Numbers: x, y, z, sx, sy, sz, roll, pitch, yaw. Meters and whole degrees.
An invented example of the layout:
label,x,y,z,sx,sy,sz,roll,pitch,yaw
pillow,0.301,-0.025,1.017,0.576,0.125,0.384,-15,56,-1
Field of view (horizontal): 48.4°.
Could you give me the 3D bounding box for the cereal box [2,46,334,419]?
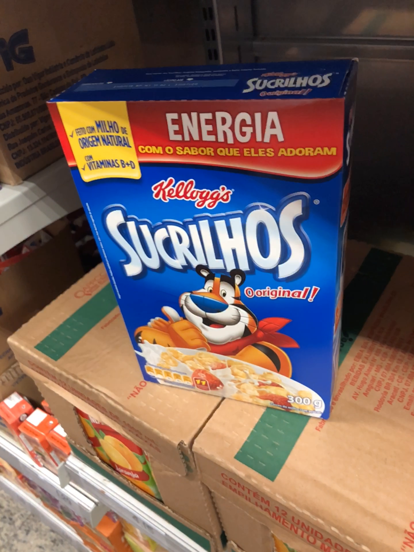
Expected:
label,x,y,z,sx,sy,sz,roll,pitch,yaw
cereal box,-0.006,-0.014,0.324,0.170,0.248,0.060,7,43,21
